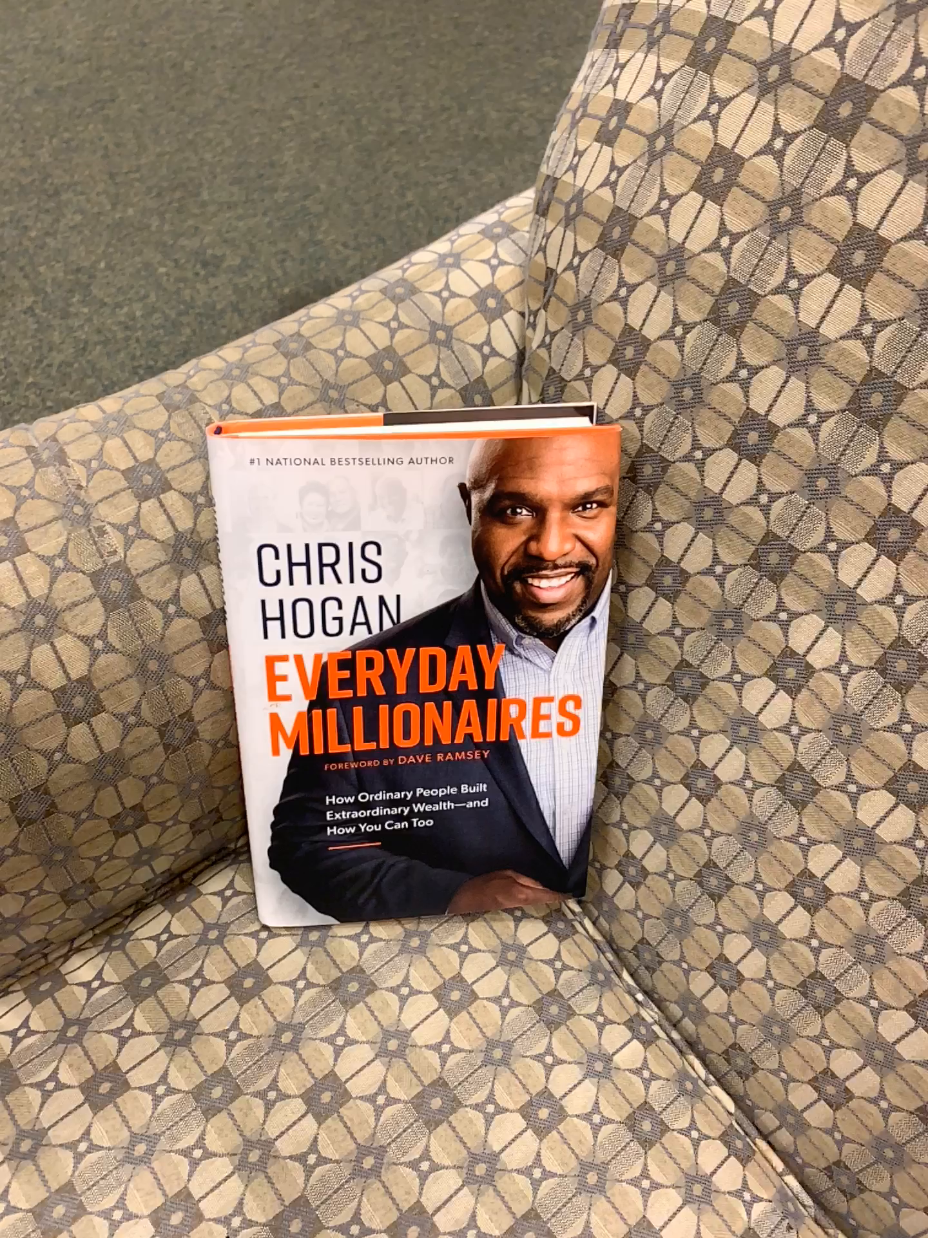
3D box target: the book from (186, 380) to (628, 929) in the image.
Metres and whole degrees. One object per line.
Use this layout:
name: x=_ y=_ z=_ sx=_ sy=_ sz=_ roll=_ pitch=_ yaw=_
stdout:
book: x=-0.021 y=0.024 z=0.418 sx=0.160 sy=0.244 sz=0.038 roll=-2 pitch=27 yaw=-5
